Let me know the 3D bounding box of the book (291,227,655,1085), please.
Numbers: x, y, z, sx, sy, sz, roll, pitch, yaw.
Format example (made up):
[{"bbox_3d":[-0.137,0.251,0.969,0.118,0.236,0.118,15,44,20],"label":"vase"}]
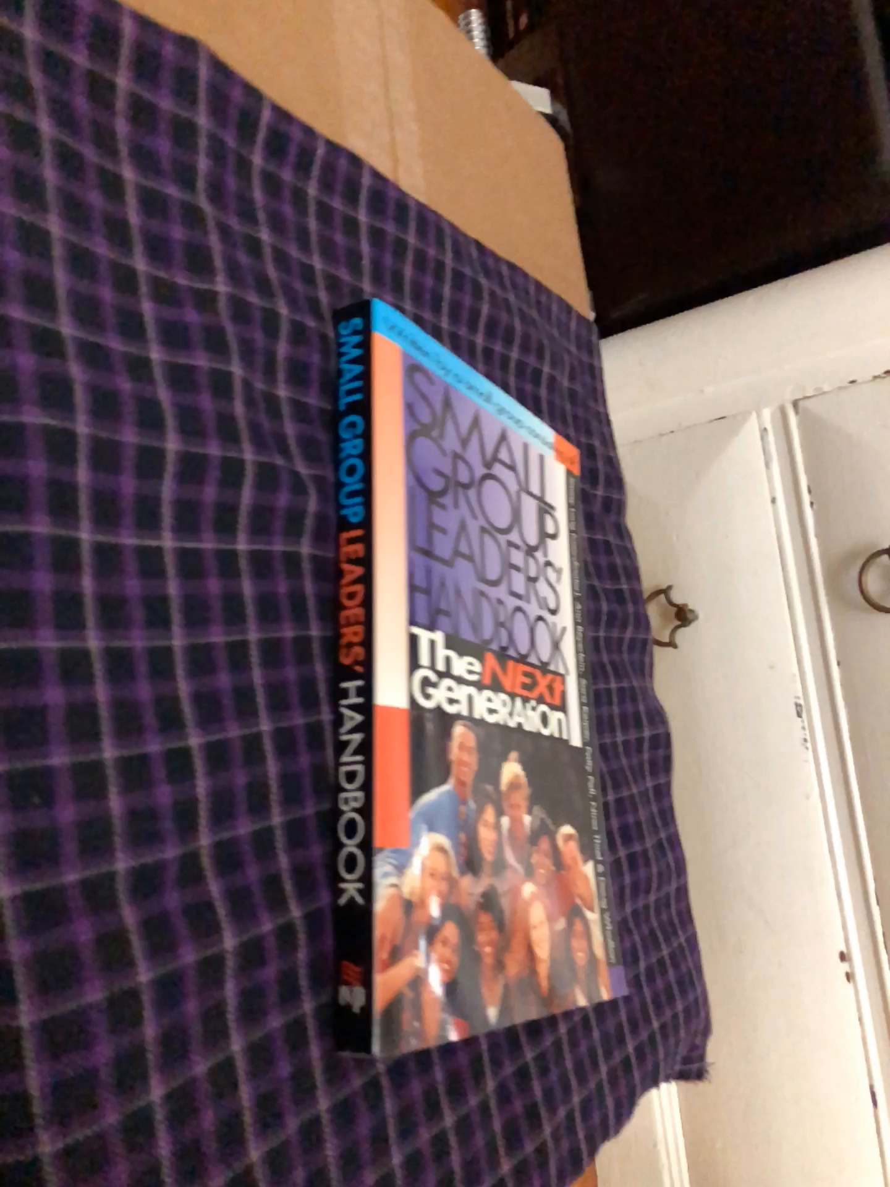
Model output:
[{"bbox_3d":[0.013,0.021,0.314,0.151,0.030,0.220,20,62,-54],"label":"book"}]
